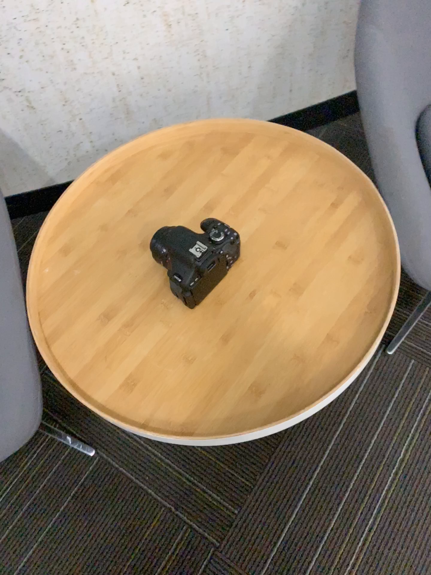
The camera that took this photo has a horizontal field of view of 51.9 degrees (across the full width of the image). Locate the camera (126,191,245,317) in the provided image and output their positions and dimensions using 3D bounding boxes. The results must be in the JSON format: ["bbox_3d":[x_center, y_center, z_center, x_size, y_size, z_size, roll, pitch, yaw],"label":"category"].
[{"bbox_3d":[-0.044,-0.055,0.725,0.120,0.100,0.134,37,73,22],"label":"camera"}]
